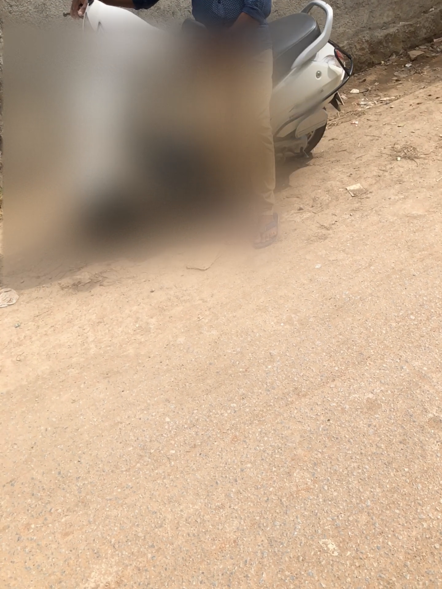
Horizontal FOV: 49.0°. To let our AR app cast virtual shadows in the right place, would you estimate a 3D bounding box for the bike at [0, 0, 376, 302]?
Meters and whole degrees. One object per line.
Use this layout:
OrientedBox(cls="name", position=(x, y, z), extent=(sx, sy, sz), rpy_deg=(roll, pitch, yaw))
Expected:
OrientedBox(cls="bike", position=(-0.069, -0.919, 2.484), extent=(1.626, 1.140, 0.671), rpy_deg=(-24, 38, -12))
